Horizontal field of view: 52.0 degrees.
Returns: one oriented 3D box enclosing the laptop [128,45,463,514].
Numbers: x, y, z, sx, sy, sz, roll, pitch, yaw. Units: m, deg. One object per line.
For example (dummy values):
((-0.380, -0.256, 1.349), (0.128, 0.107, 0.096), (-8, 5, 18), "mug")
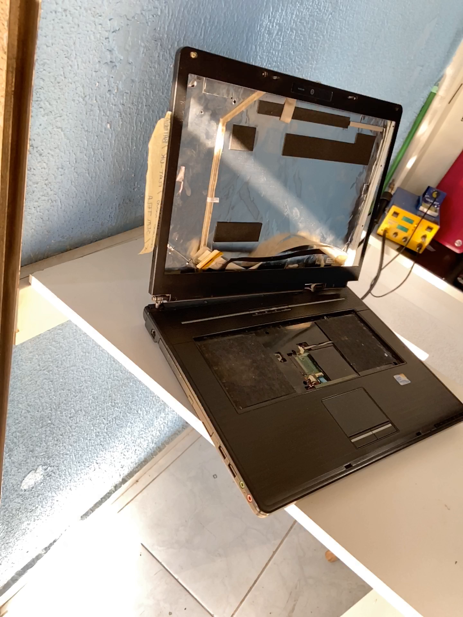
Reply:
((0.131, -0.059, 0.541), (0.354, 0.261, 0.350), (-7, 45, -35), "laptop")
